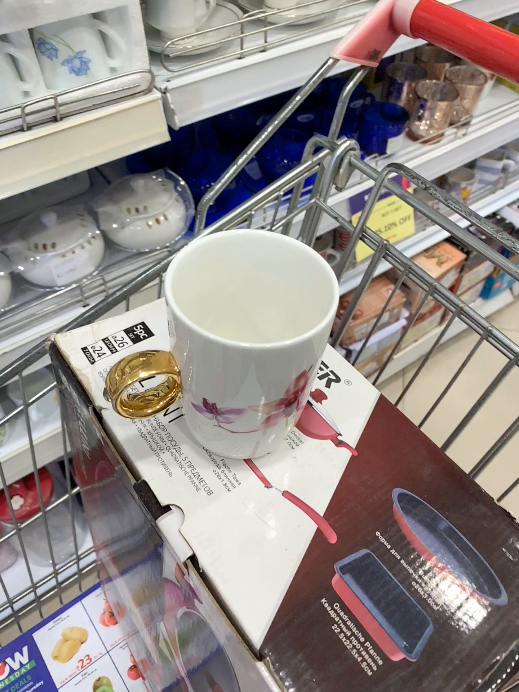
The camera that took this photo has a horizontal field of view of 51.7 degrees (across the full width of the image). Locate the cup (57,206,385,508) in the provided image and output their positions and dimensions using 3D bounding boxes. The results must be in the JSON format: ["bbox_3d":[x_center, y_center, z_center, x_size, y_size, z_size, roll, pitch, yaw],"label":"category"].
[{"bbox_3d":[-0.019,0.005,0.242,0.110,0.090,0.070,-15,53,-16],"label":"cup"}]
